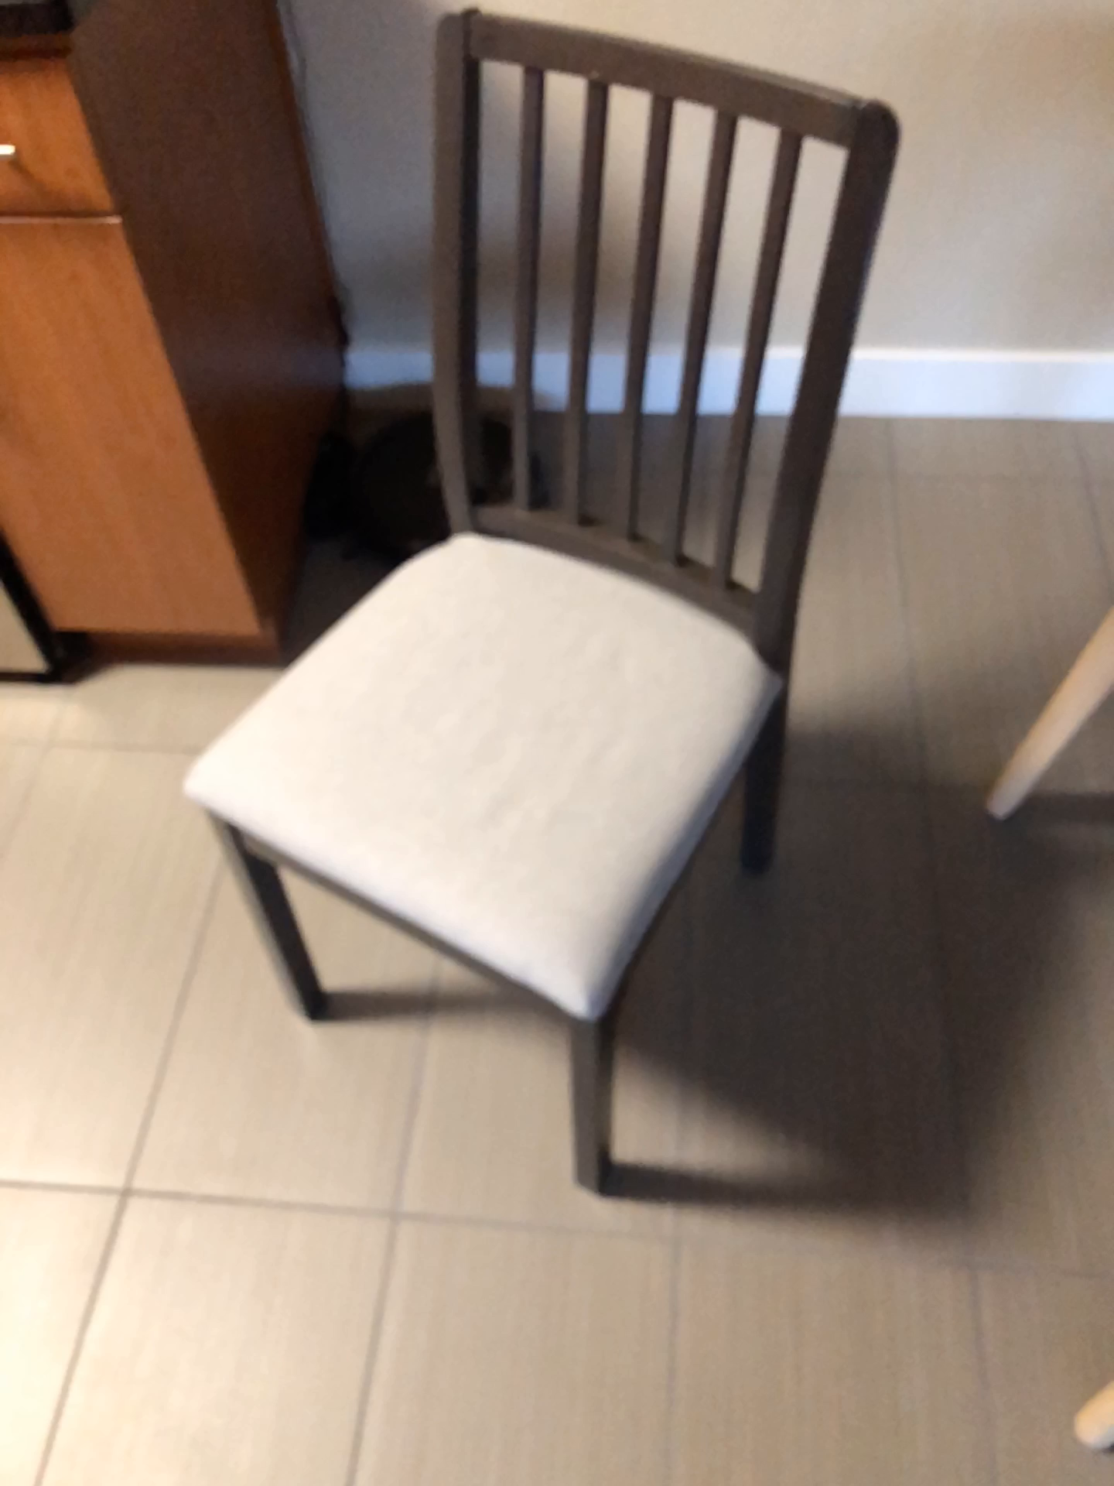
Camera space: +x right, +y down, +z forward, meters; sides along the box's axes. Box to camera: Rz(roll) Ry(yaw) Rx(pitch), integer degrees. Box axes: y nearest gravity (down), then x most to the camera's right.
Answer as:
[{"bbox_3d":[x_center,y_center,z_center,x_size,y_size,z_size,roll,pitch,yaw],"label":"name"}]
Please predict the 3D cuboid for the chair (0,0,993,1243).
[{"bbox_3d":[-0.020,-0.032,1.262,0.481,1.125,0.511,28,58,23],"label":"chair"}]
